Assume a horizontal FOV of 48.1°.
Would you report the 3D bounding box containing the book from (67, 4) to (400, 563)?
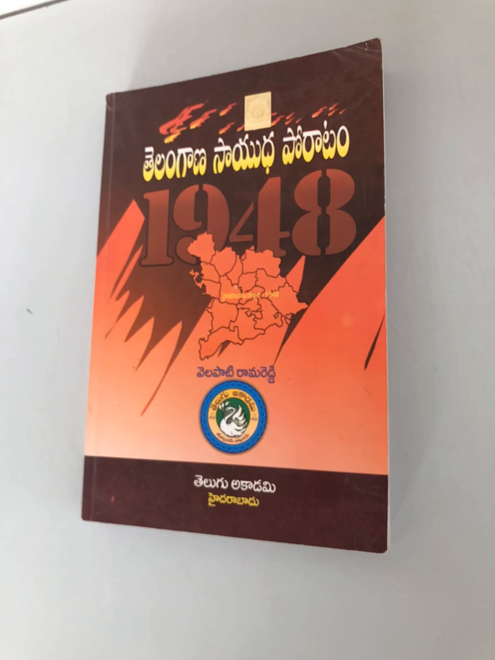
[{"bbox_3d":[-0.008,-0.028,0.303,0.170,0.030,0.270,-1,81,19],"label":"book"}]
